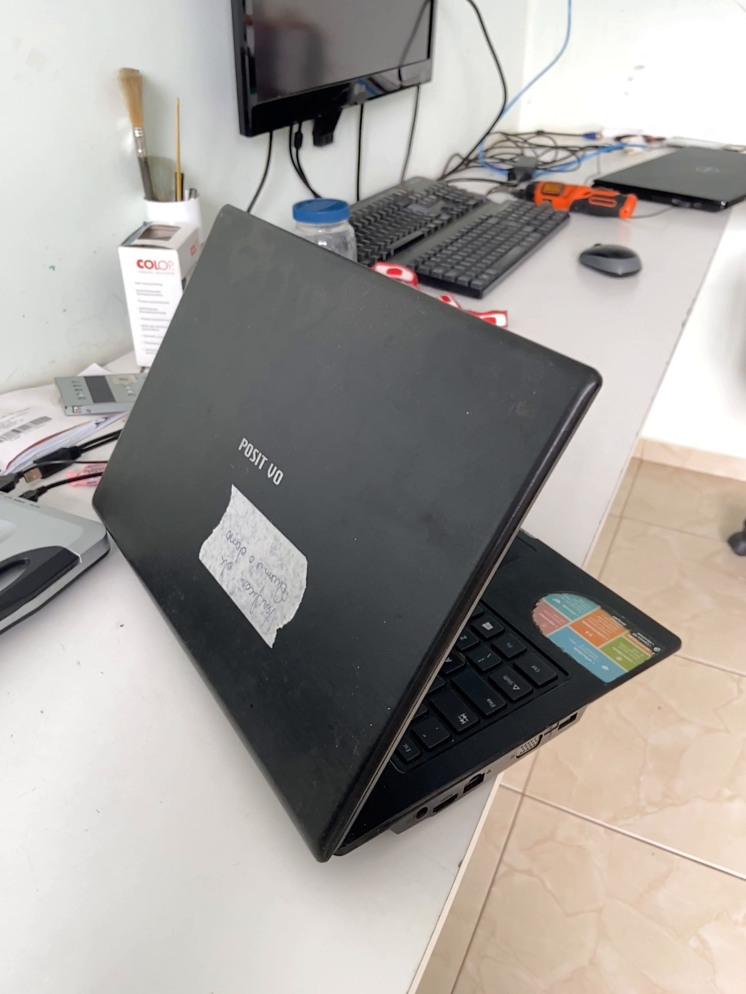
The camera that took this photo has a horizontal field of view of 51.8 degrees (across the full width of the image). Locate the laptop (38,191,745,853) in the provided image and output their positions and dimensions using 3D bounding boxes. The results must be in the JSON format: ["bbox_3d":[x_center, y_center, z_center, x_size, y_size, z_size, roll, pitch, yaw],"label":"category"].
[{"bbox_3d":[-0.011,-0.037,0.450,0.233,0.189,0.331,-20,38,-28],"label":"laptop"}]
